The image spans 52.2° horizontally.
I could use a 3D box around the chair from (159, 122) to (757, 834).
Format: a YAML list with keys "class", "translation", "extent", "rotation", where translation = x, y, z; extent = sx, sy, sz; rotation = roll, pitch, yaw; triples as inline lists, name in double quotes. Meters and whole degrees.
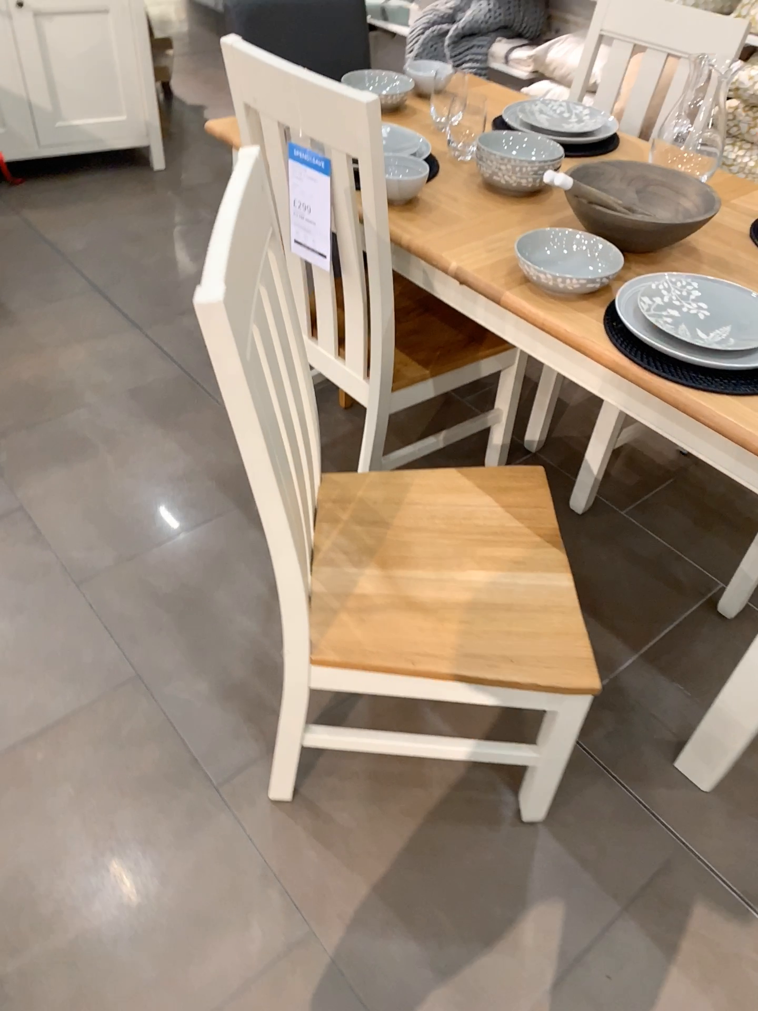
- class: "chair"
  translation: [0.063, 0.027, 1.137]
  extent: [0.545, 0.925, 0.506]
  rotation: [2, 43, -3]

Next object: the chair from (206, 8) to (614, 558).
- class: "chair"
  translation: [0.024, -0.458, 1.661]
  extent: [0.537, 0.925, 0.474]
  rotation: [-25, 51, -28]
